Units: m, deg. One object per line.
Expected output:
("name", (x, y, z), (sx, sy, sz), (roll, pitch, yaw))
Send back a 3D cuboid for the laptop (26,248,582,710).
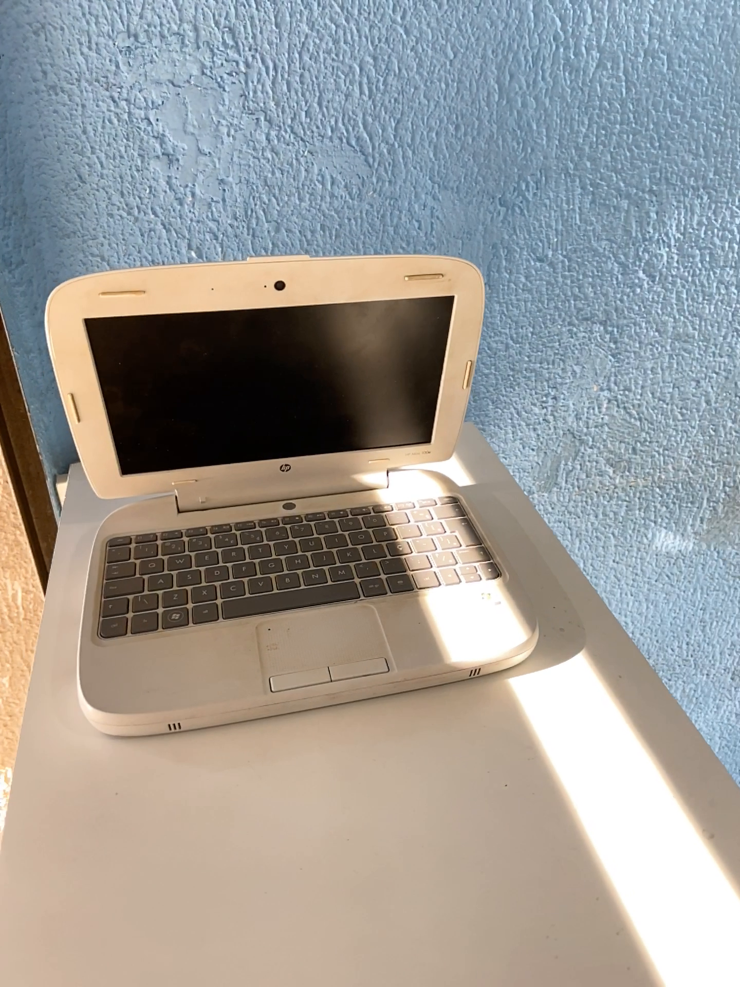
("laptop", (-0.044, -0.023, 0.452), (0.247, 0.172, 0.178), (-7, 34, -11))
